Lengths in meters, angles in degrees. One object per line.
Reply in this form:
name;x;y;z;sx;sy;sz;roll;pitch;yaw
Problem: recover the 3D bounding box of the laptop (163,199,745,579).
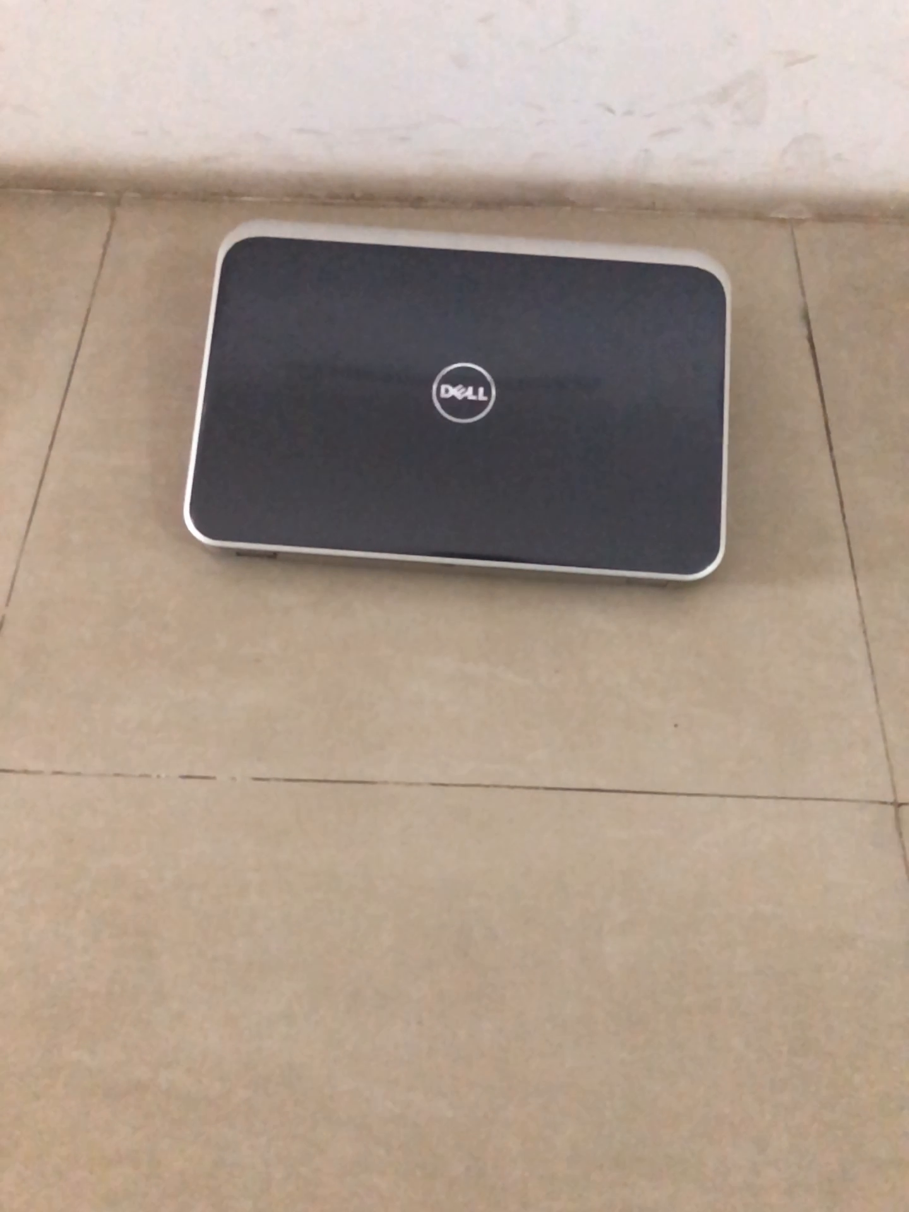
laptop;0.009;-0.156;0.707;0.360;0.079;0.235;5;63;0
